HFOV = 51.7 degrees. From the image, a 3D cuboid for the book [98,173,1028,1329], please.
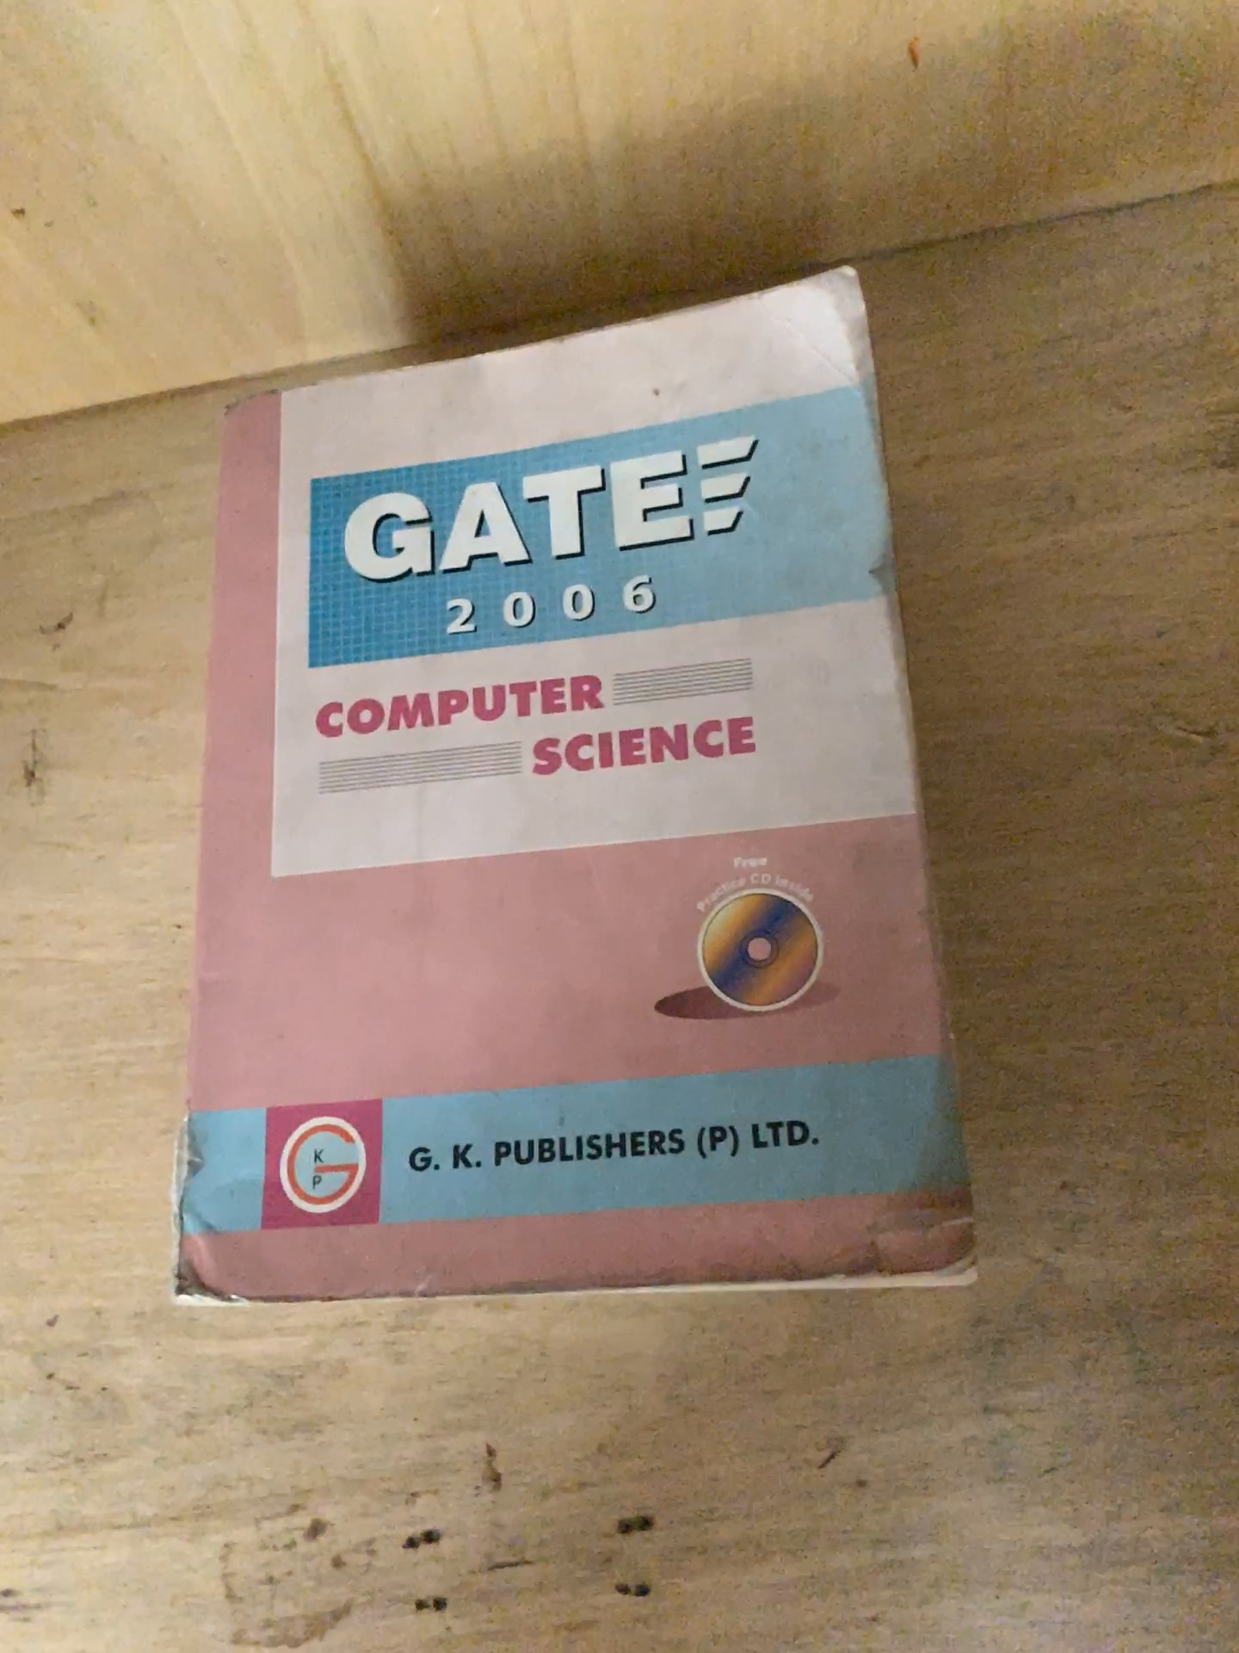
[{"bbox_3d":[-0.015,-0.019,0.335,0.190,0.080,0.271,-5,72,8],"label":"book"}]
